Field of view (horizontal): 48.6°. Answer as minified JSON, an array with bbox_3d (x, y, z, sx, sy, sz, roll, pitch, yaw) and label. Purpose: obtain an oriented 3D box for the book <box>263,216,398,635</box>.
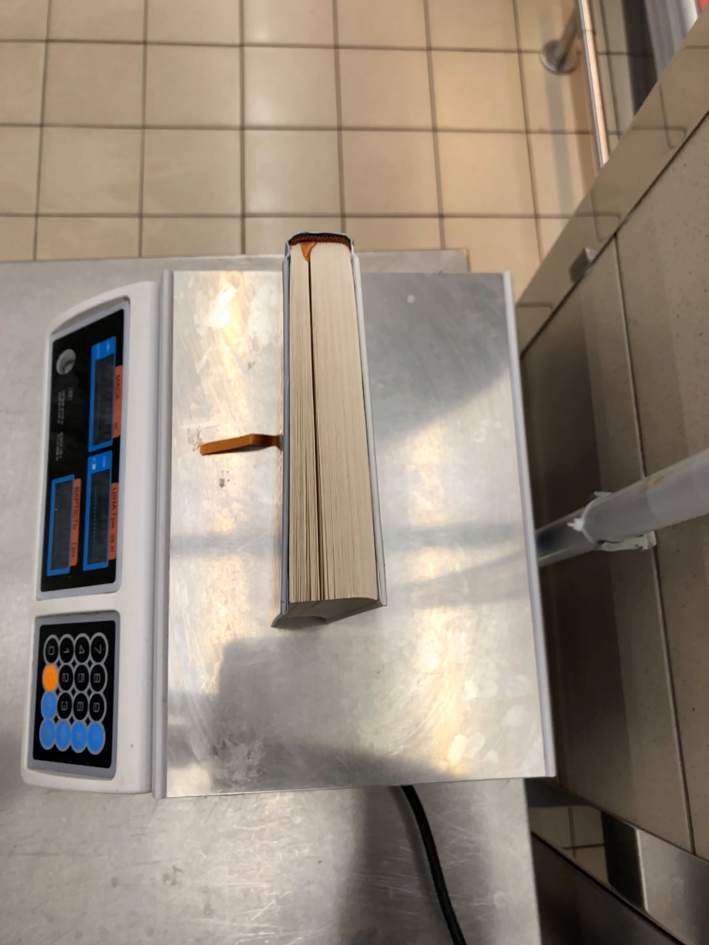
[{"bbox_3d":[-0.019,-0.001,0.348,0.037,0.187,0.137,-1,77,-7],"label":"book"}]
